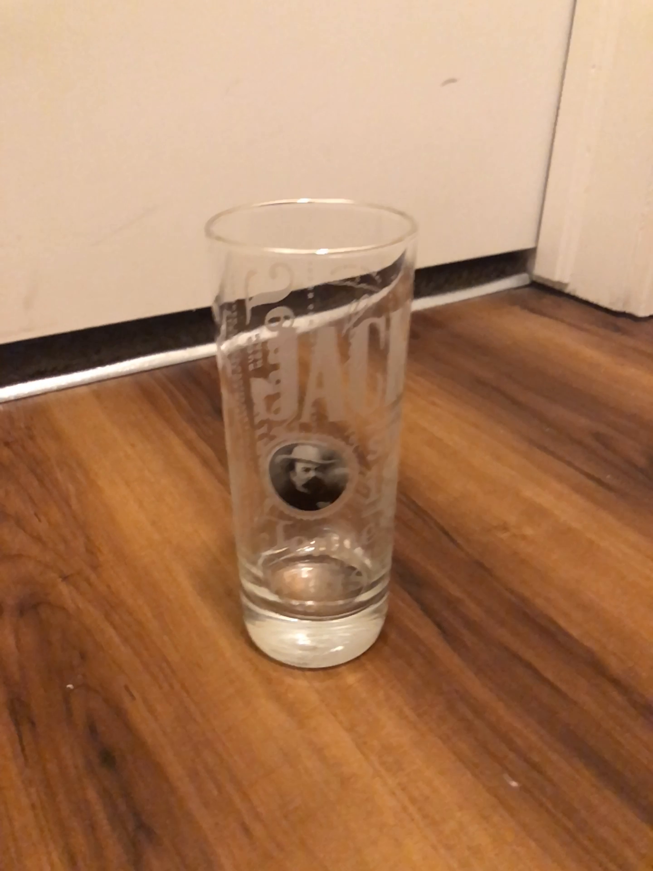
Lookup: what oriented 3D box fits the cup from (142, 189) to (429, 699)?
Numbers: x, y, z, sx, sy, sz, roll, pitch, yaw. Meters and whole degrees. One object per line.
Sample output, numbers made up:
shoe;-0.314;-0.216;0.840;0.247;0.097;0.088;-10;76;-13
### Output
cup;-0.007;0.003;0.244;0.067;0.150;0.068;0;29;0
